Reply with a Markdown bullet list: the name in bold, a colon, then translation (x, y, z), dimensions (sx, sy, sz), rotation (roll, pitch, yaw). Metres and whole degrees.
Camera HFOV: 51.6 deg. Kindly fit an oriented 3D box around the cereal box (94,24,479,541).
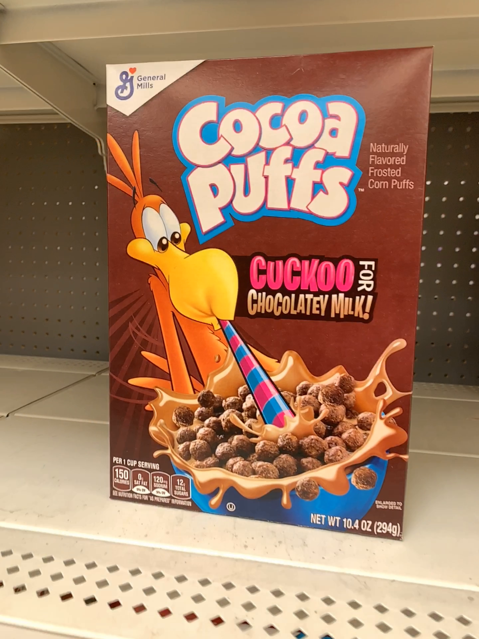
- **cereal box**: translation (0.019, -0.019, 0.295), dimensions (0.200, 0.260, 0.050), rotation (3, 7, 13)
